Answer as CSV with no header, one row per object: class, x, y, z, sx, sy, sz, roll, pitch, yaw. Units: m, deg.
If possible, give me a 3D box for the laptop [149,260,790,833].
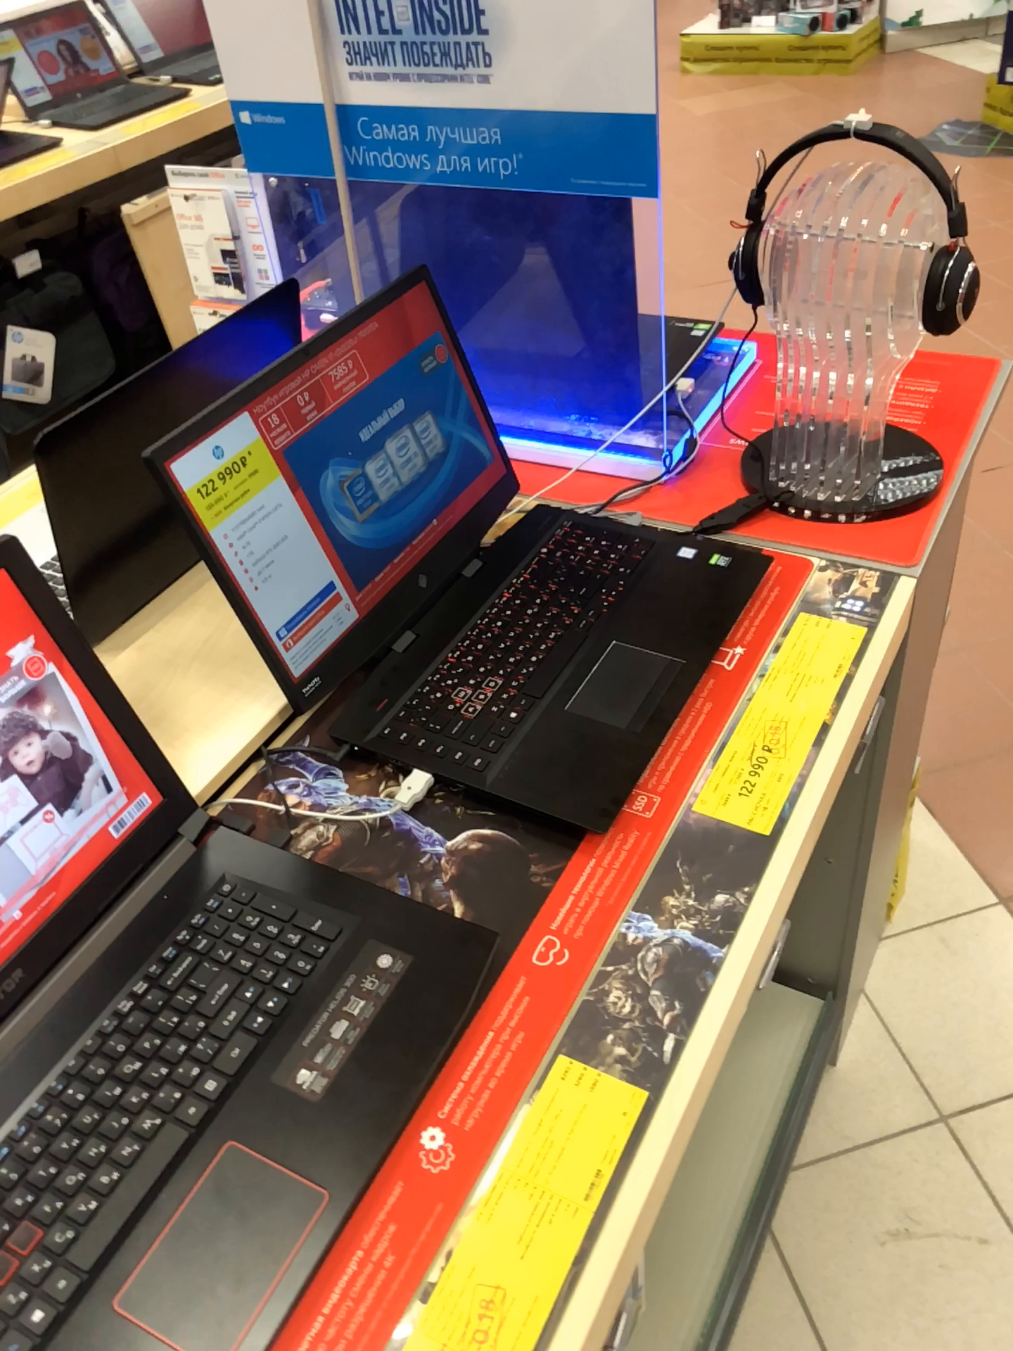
laptop,-0.004,-0.145,0.974,0.375,0.246,0.393,17,46,24
